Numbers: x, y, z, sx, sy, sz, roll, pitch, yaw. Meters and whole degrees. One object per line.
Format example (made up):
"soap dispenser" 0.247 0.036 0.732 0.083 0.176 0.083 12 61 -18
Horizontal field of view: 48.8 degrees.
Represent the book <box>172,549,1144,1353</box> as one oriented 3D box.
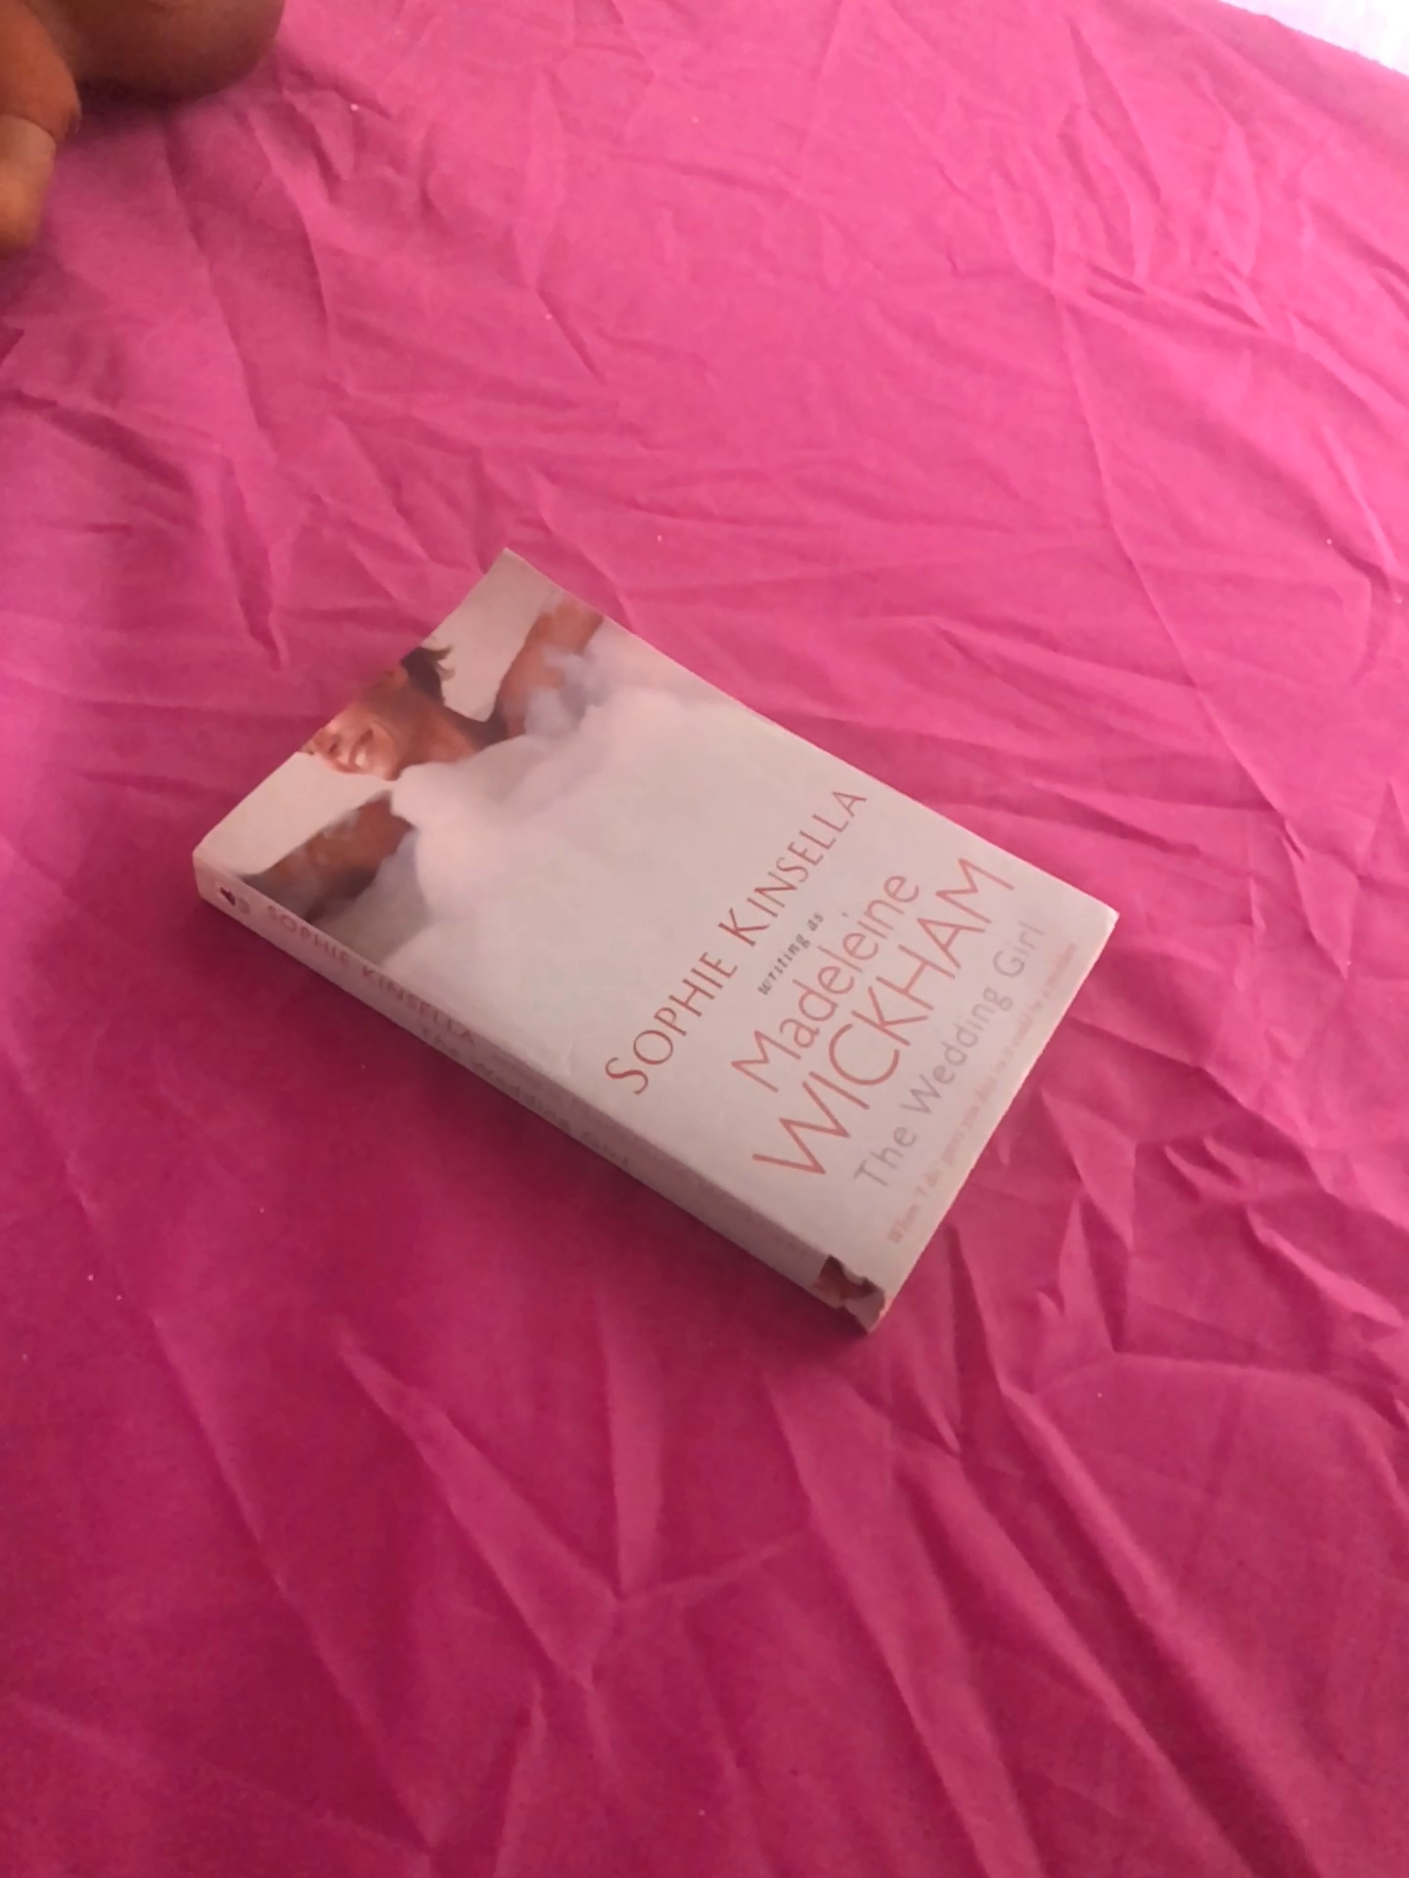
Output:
"book" -0.009 -0.010 0.396 0.201 0.027 0.135 31 56 13
